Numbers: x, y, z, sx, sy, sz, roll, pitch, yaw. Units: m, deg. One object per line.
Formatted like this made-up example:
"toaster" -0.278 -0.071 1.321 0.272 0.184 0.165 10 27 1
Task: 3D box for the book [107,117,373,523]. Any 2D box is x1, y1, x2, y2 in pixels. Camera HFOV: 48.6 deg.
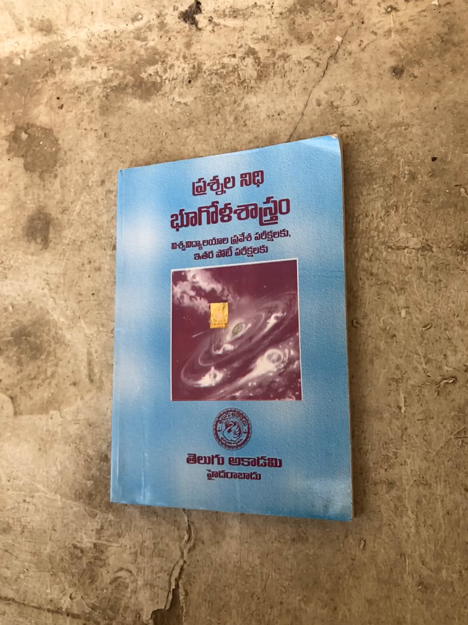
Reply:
"book" -0.001 0.006 0.393 0.190 0.040 0.270 -4 82 19
